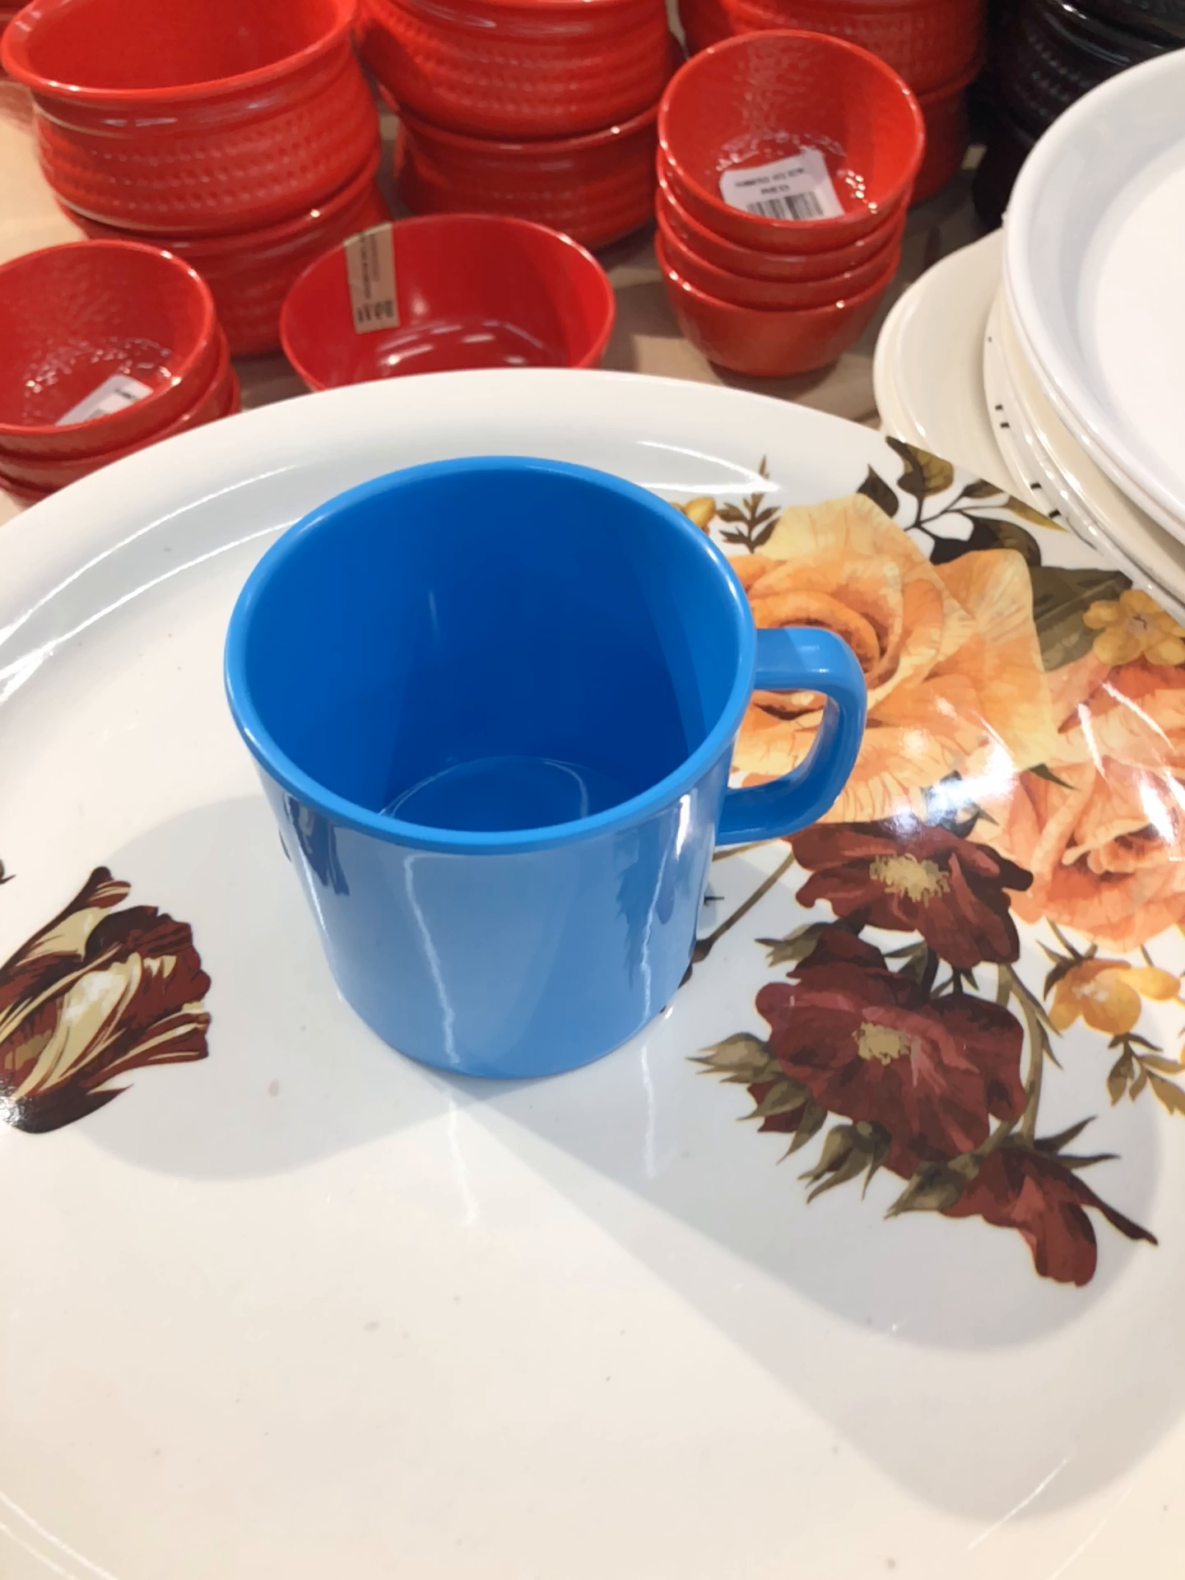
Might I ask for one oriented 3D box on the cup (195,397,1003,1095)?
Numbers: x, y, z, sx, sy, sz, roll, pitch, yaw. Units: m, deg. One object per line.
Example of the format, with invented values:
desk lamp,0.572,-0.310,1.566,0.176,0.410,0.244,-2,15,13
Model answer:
cup,0.000,-0.004,0.239,0.110,0.090,0.080,-5,55,-1
